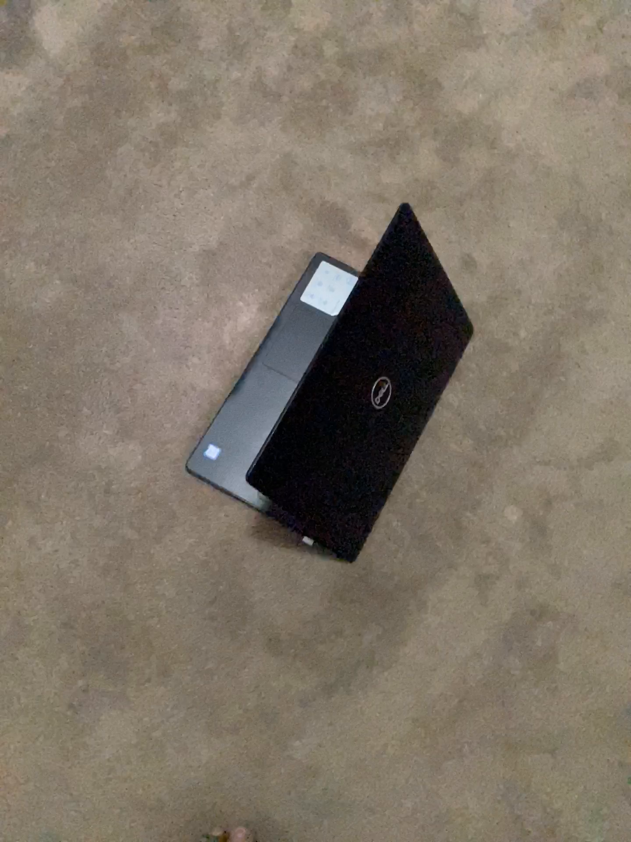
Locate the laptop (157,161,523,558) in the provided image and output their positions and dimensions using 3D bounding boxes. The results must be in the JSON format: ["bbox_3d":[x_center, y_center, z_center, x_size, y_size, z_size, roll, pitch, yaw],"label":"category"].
[{"bbox_3d":[0.031,-0.066,0.797,0.251,0.202,0.377,28,77,8],"label":"laptop"}]
